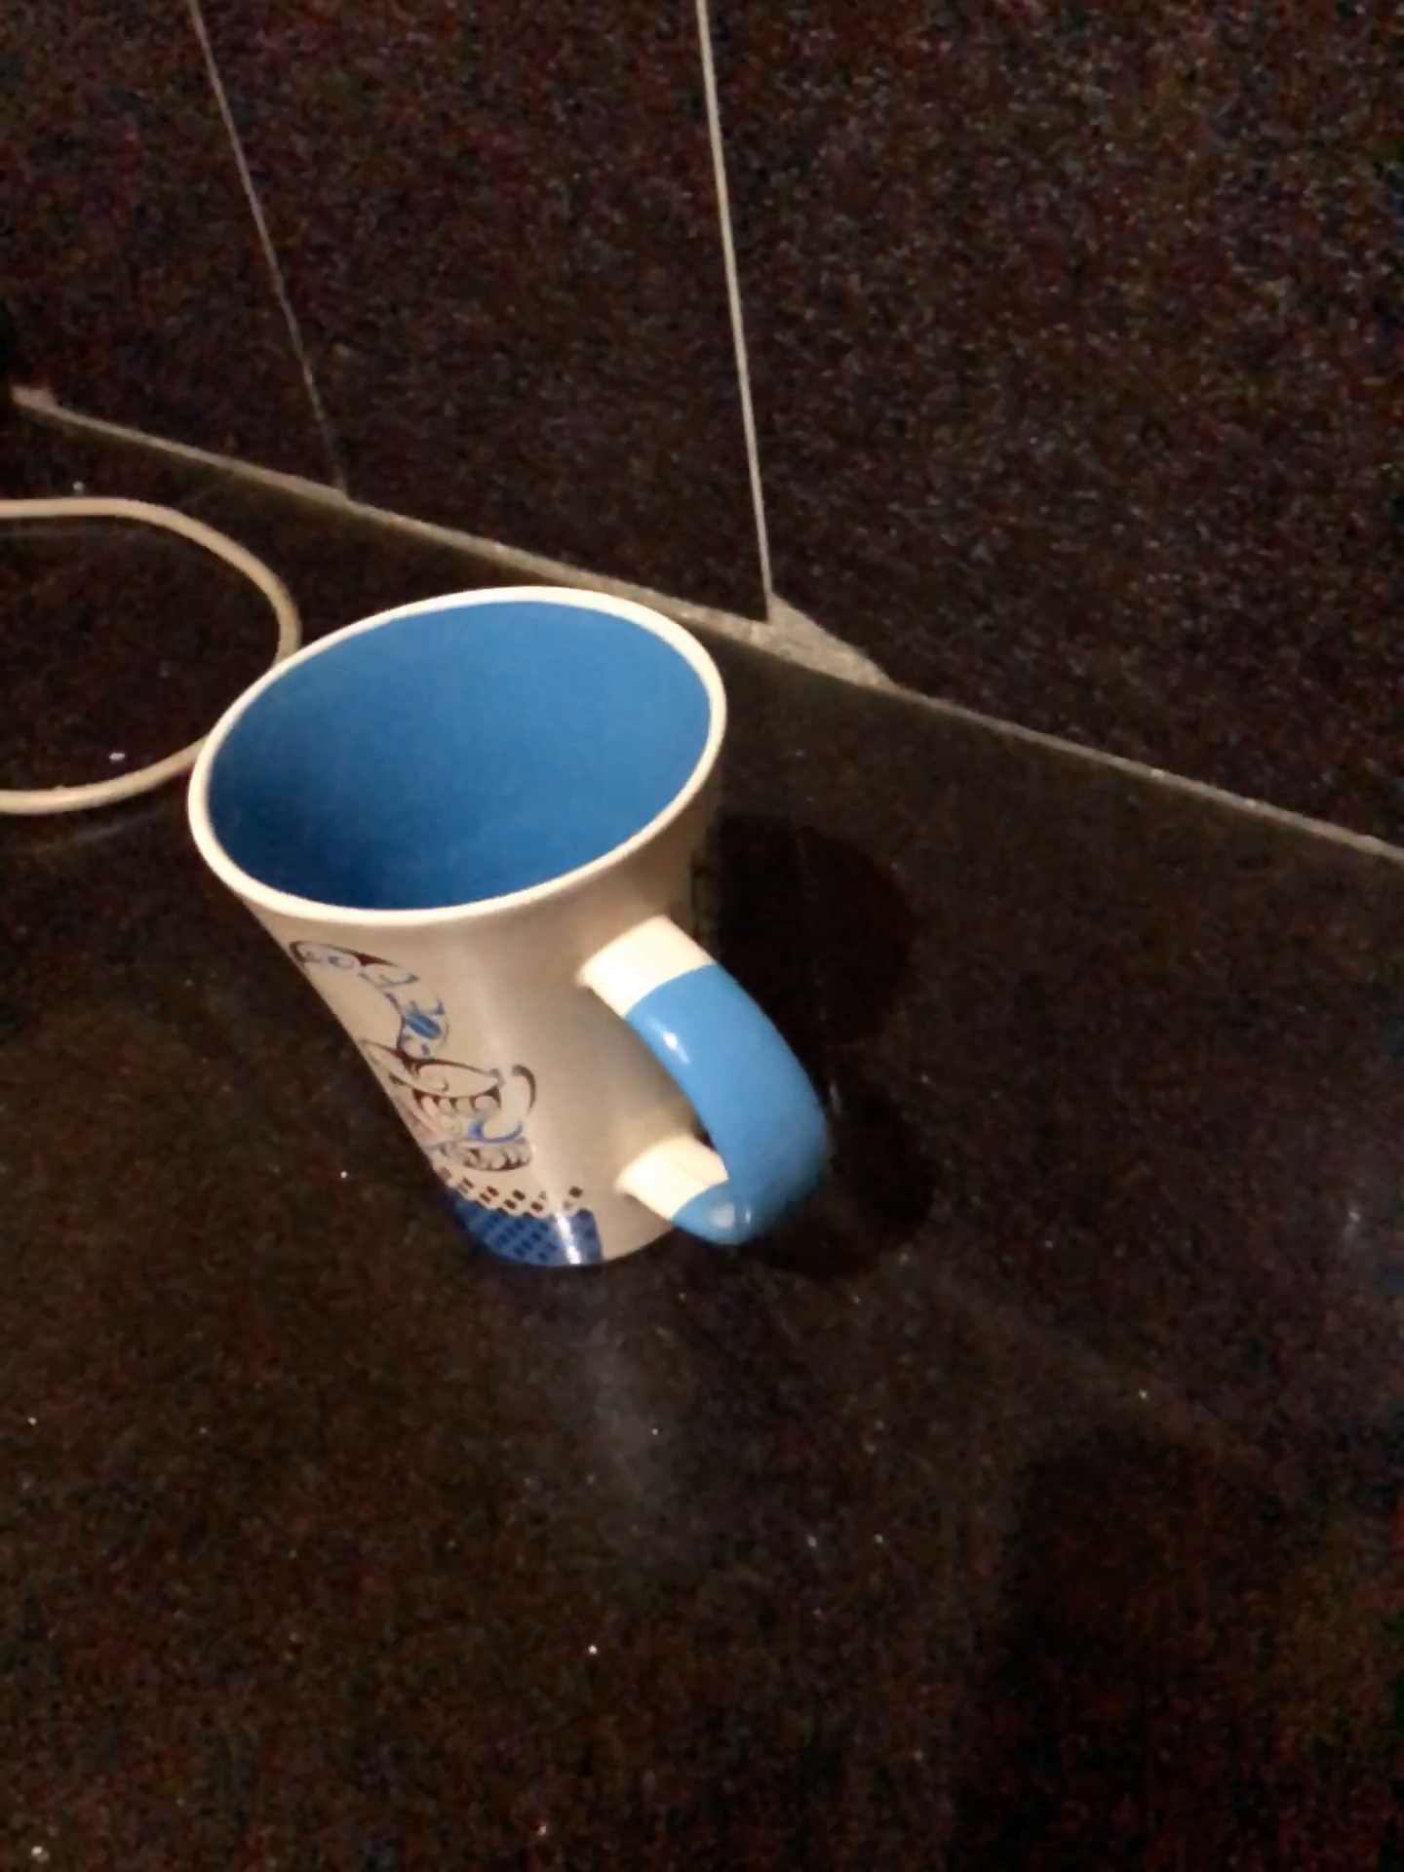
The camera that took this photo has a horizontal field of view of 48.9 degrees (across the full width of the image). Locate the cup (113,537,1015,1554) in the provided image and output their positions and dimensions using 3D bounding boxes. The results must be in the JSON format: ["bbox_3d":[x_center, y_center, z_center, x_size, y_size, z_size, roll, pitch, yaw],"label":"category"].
[{"bbox_3d":[-0.022,0.013,0.288,0.090,0.109,0.130,-34,48,-23],"label":"cup"}]
